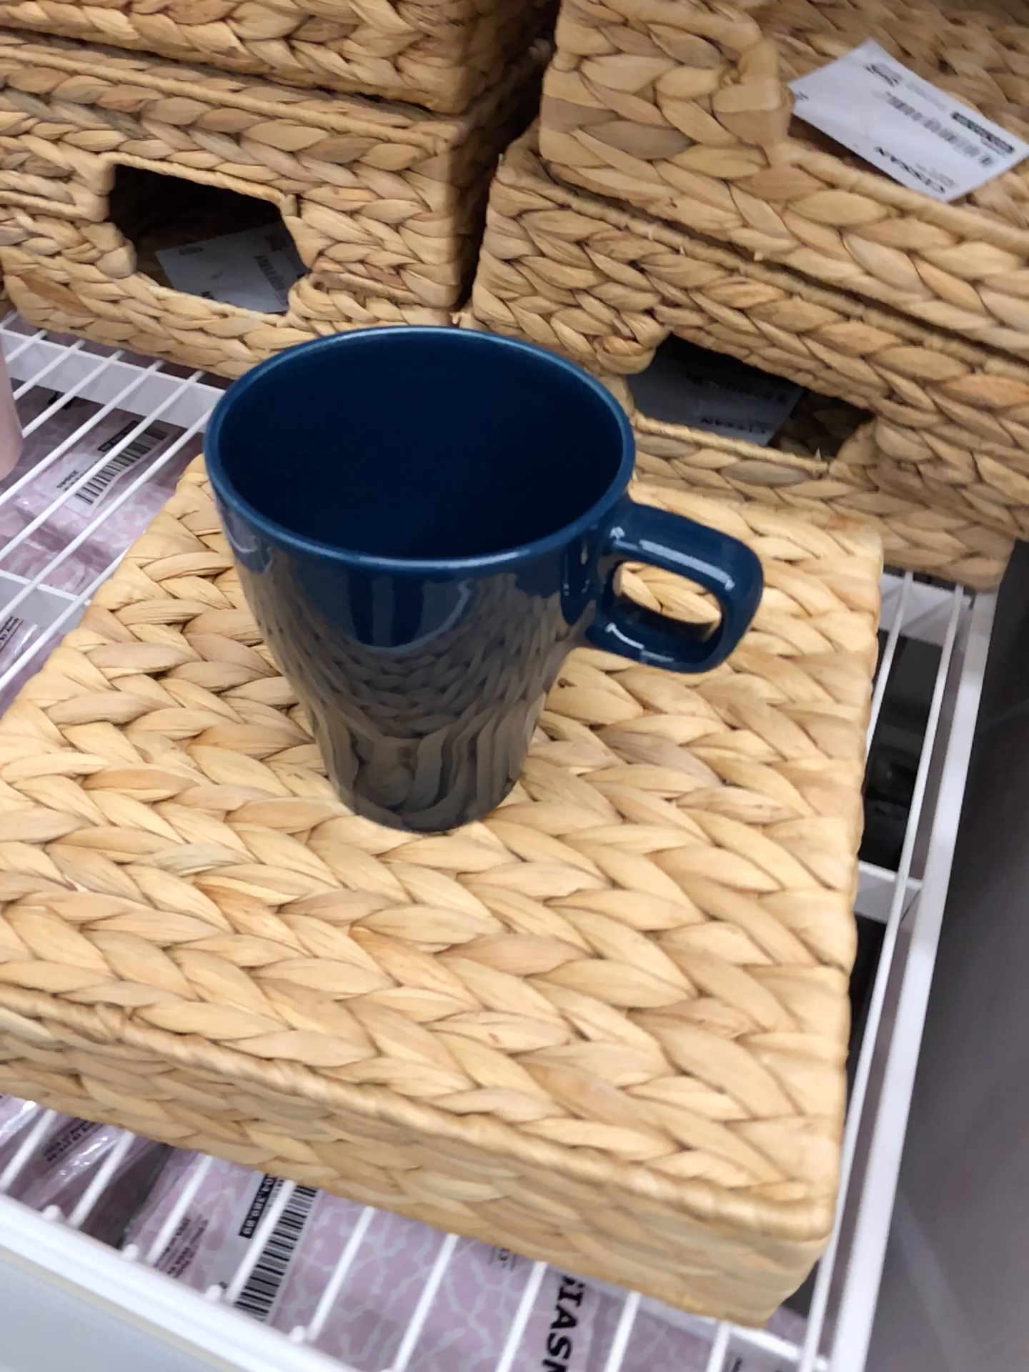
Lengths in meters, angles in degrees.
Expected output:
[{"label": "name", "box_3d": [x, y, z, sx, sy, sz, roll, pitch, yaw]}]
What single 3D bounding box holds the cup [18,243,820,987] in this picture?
[{"label": "cup", "box_3d": [-0.017, -0.018, 0.238, 0.120, 0.090, 0.080, 23, 50, 18]}]
